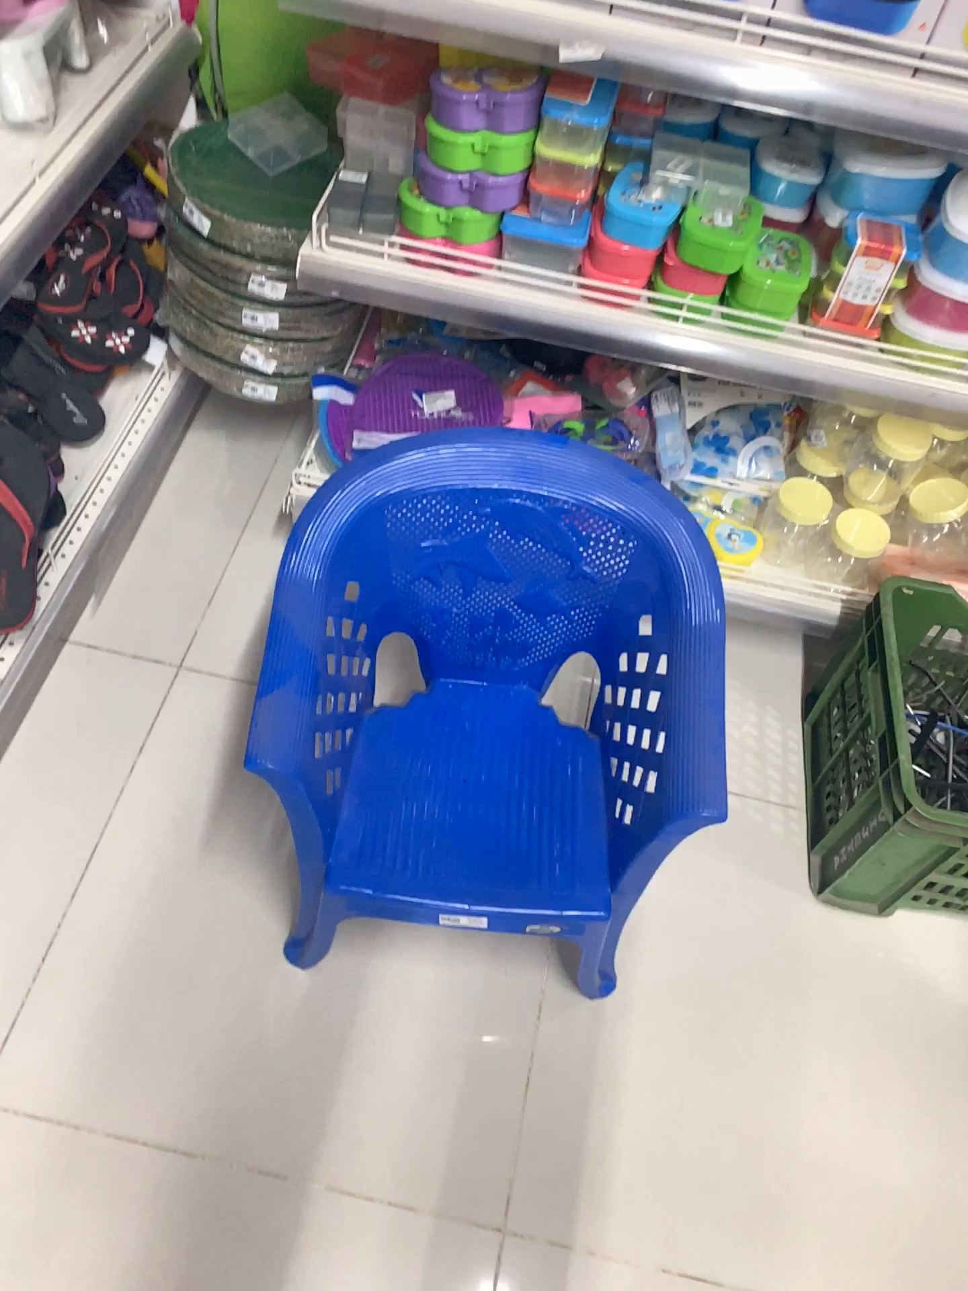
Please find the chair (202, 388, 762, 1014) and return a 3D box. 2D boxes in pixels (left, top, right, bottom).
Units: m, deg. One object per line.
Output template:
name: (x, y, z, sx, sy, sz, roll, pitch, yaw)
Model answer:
chair: (-0.006, 0.082, 1.057, 0.420, 0.469, 0.451, 6, 55, -2)
